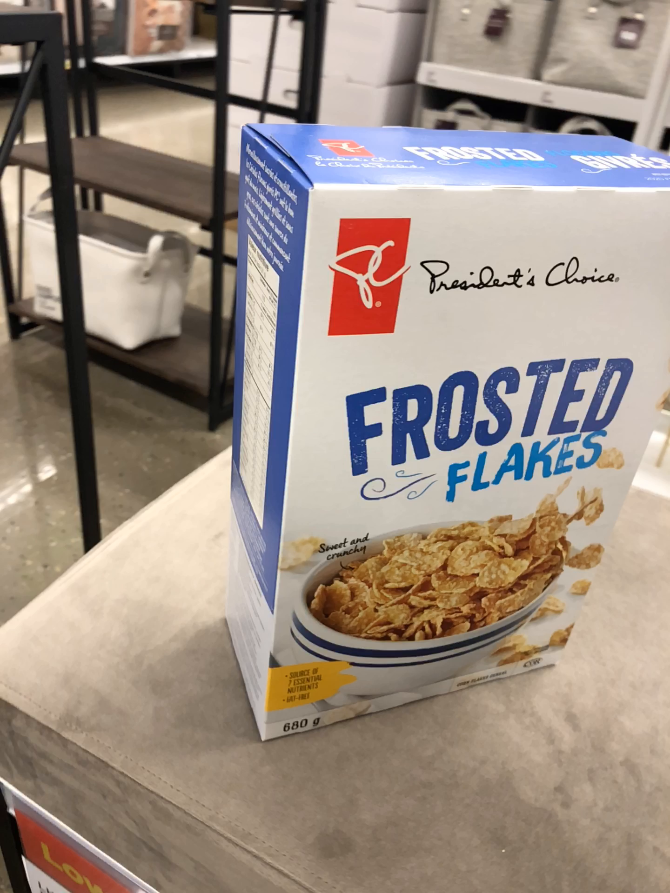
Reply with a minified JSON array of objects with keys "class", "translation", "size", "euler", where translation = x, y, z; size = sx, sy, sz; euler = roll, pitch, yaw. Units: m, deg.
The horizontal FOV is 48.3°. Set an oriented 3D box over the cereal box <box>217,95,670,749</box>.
[{"class":"cereal box","translation":[0.053,-0.005,0.376],"size":[0.200,0.289,0.100],"euler":[-7,35,-20]}]
